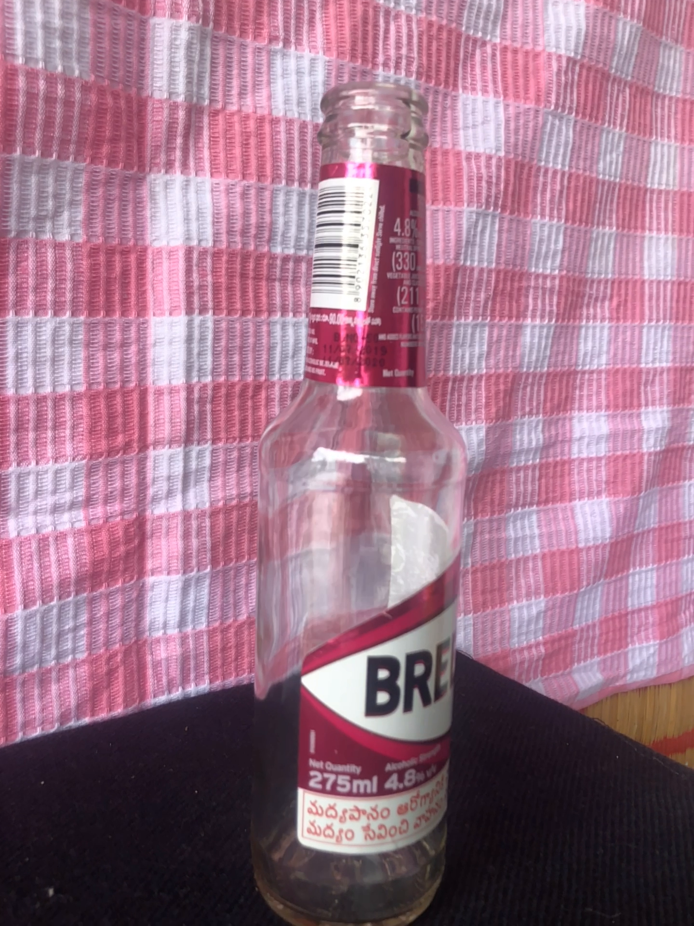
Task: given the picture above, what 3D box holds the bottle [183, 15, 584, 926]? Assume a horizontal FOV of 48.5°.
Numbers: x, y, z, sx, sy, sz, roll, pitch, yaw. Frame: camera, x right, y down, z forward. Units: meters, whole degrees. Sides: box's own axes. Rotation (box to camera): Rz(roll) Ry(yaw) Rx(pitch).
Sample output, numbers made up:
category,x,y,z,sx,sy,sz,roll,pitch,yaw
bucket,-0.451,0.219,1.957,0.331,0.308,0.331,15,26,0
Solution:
category,x,y,z,sx,sy,sz,roll,pitch,yaw
bottle,0.008,0.019,0.188,0.060,0.209,0.060,4,10,-1
